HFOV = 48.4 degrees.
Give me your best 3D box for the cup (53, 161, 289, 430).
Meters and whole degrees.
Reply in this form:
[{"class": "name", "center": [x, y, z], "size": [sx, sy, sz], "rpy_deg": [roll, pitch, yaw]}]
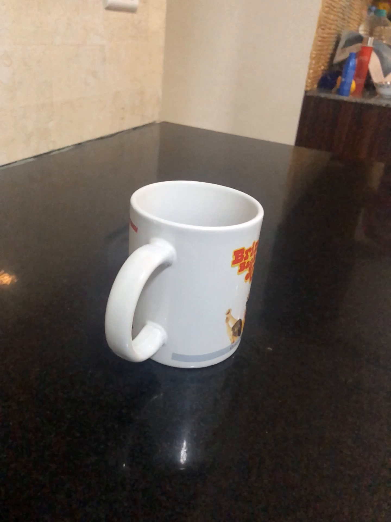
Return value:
[{"class": "cup", "center": [-0.009, 0.008, 0.265], "size": [0.080, 0.099, 0.121], "rpy_deg": [18, 30, 23]}]
